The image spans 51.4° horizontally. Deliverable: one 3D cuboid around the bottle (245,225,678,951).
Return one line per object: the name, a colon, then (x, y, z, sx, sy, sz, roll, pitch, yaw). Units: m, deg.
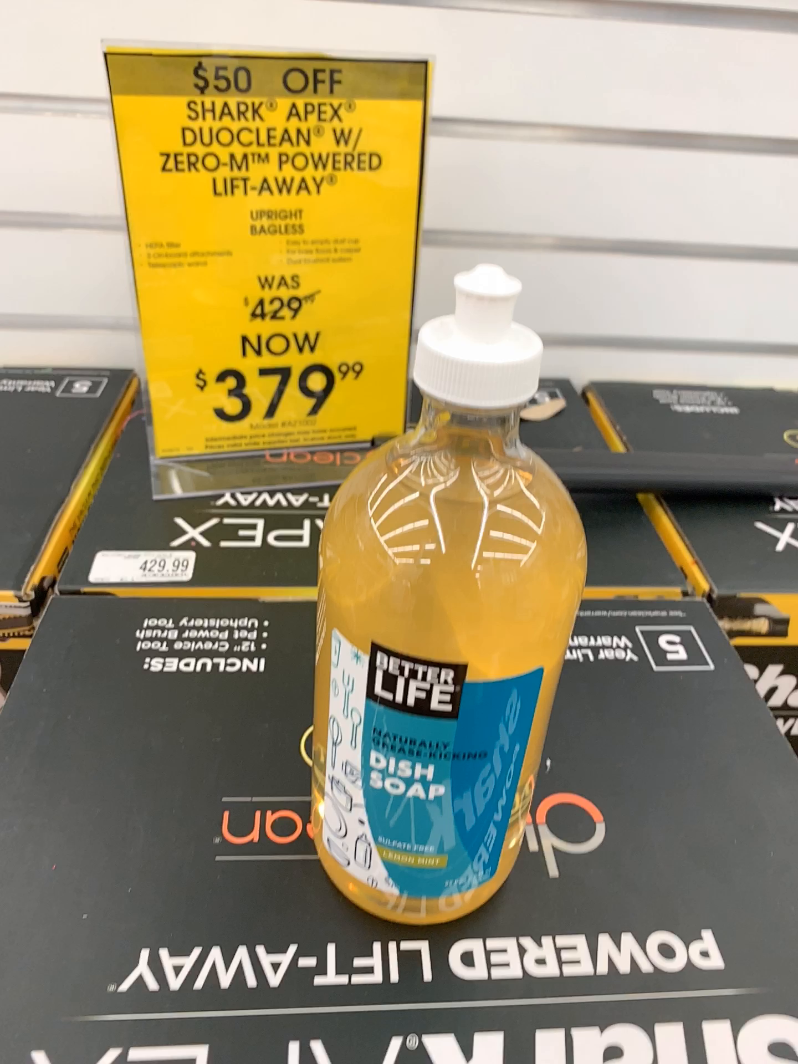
bottle: (0.014, 0.025, 0.266, 0.090, 0.209, 0.090, 3, 34, -2)
